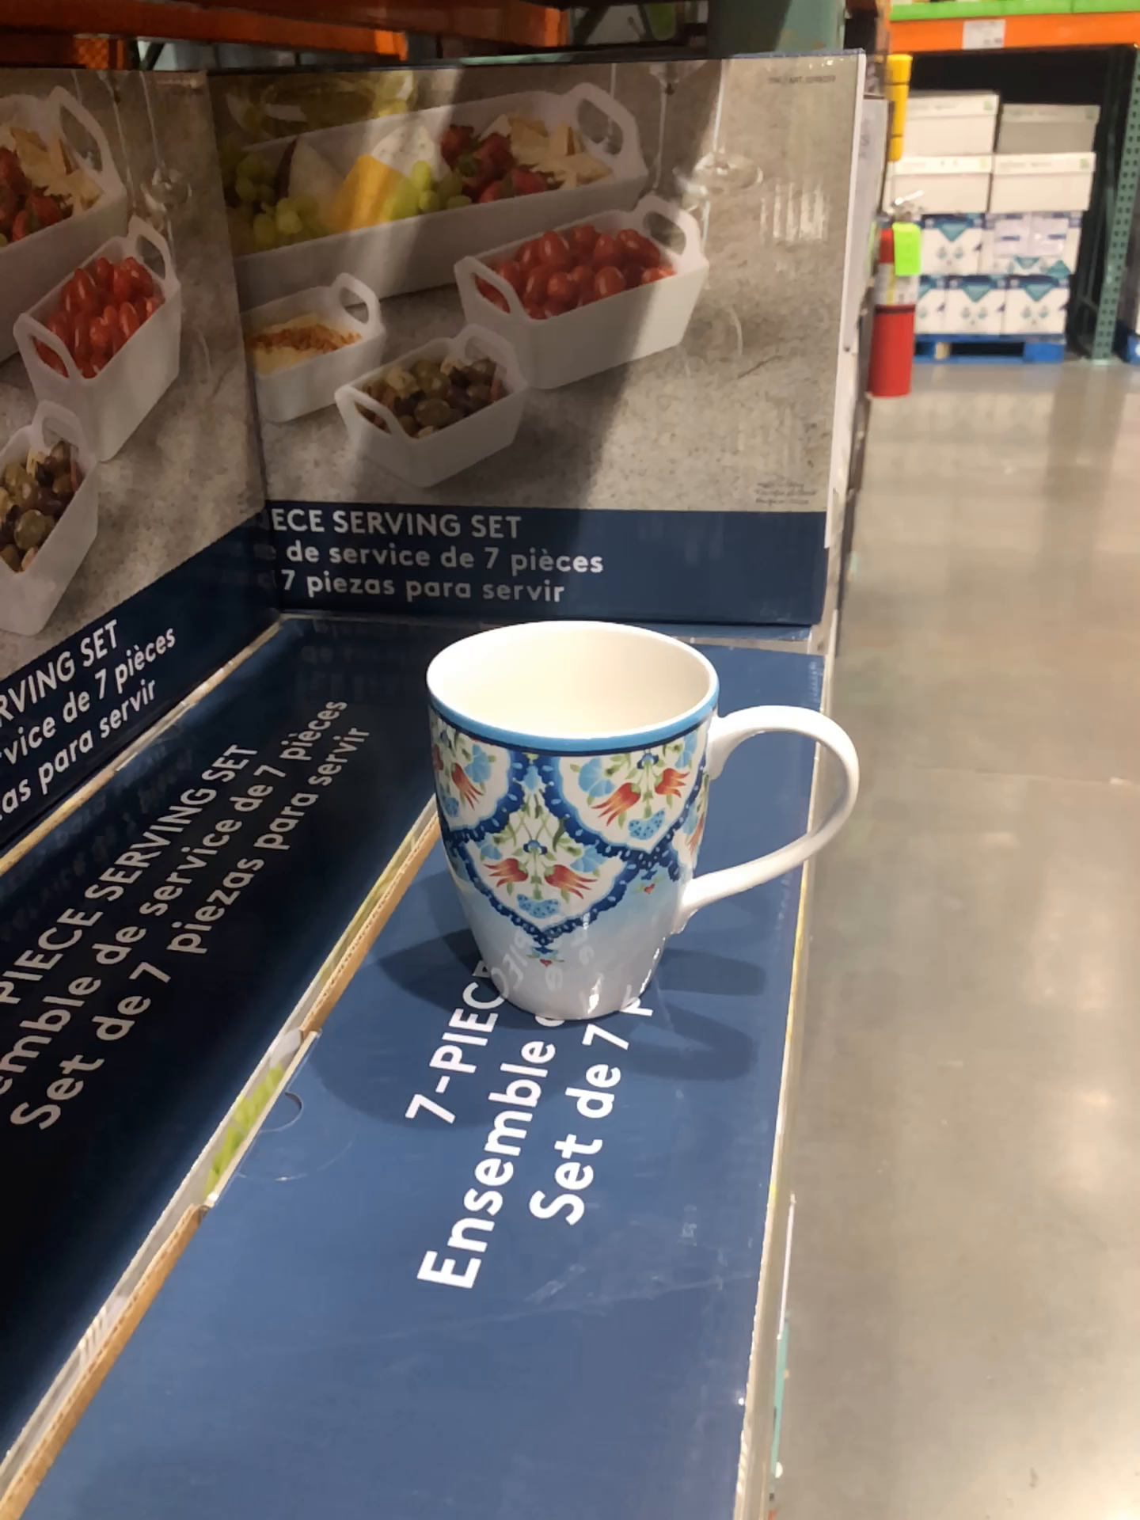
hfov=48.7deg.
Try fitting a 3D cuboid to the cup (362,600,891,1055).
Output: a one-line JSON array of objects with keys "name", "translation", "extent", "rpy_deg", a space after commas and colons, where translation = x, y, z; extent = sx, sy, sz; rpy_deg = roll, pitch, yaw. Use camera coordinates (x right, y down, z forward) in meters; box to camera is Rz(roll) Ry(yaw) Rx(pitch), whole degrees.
[{"name": "cup", "translation": [0.022, 0.015, 0.381], "extent": [0.136, 0.096, 0.090], "rpy_deg": [4, 28, 11]}]
